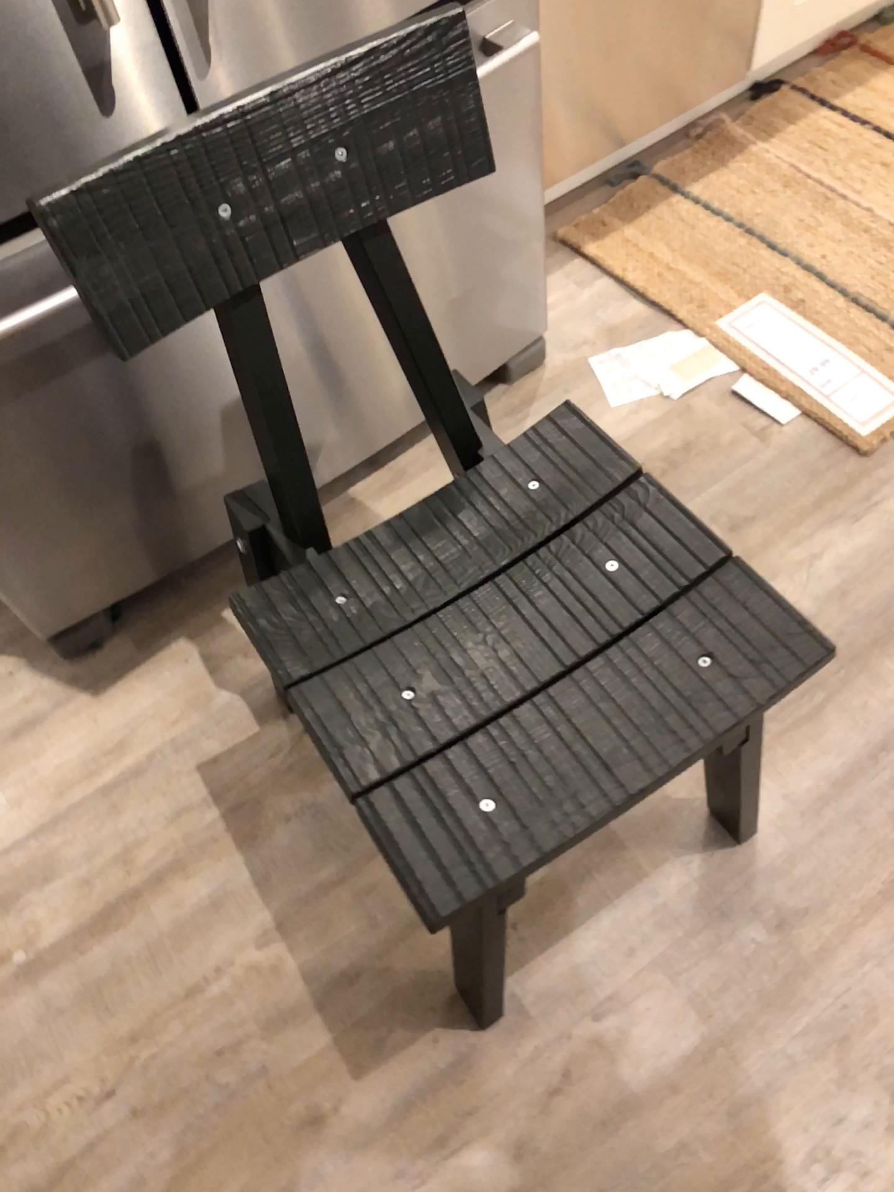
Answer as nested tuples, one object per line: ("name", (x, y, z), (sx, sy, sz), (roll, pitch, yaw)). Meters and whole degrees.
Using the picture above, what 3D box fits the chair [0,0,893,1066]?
("chair", (0.035, -0.008, 0.885), (0.520, 0.796, 0.512), (-30, 60, -11))
